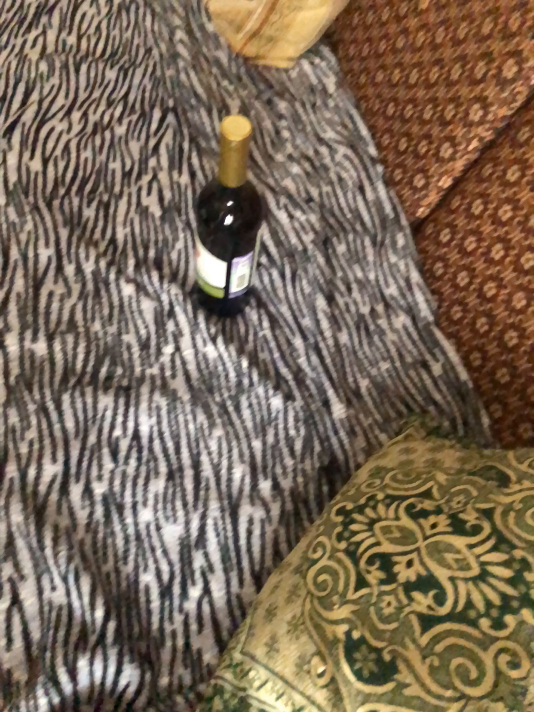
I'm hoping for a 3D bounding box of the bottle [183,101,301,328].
[{"bbox_3d":[-0.040,-0.135,0.638,0.080,0.269,0.080,4,64,-8],"label":"bottle"}]
